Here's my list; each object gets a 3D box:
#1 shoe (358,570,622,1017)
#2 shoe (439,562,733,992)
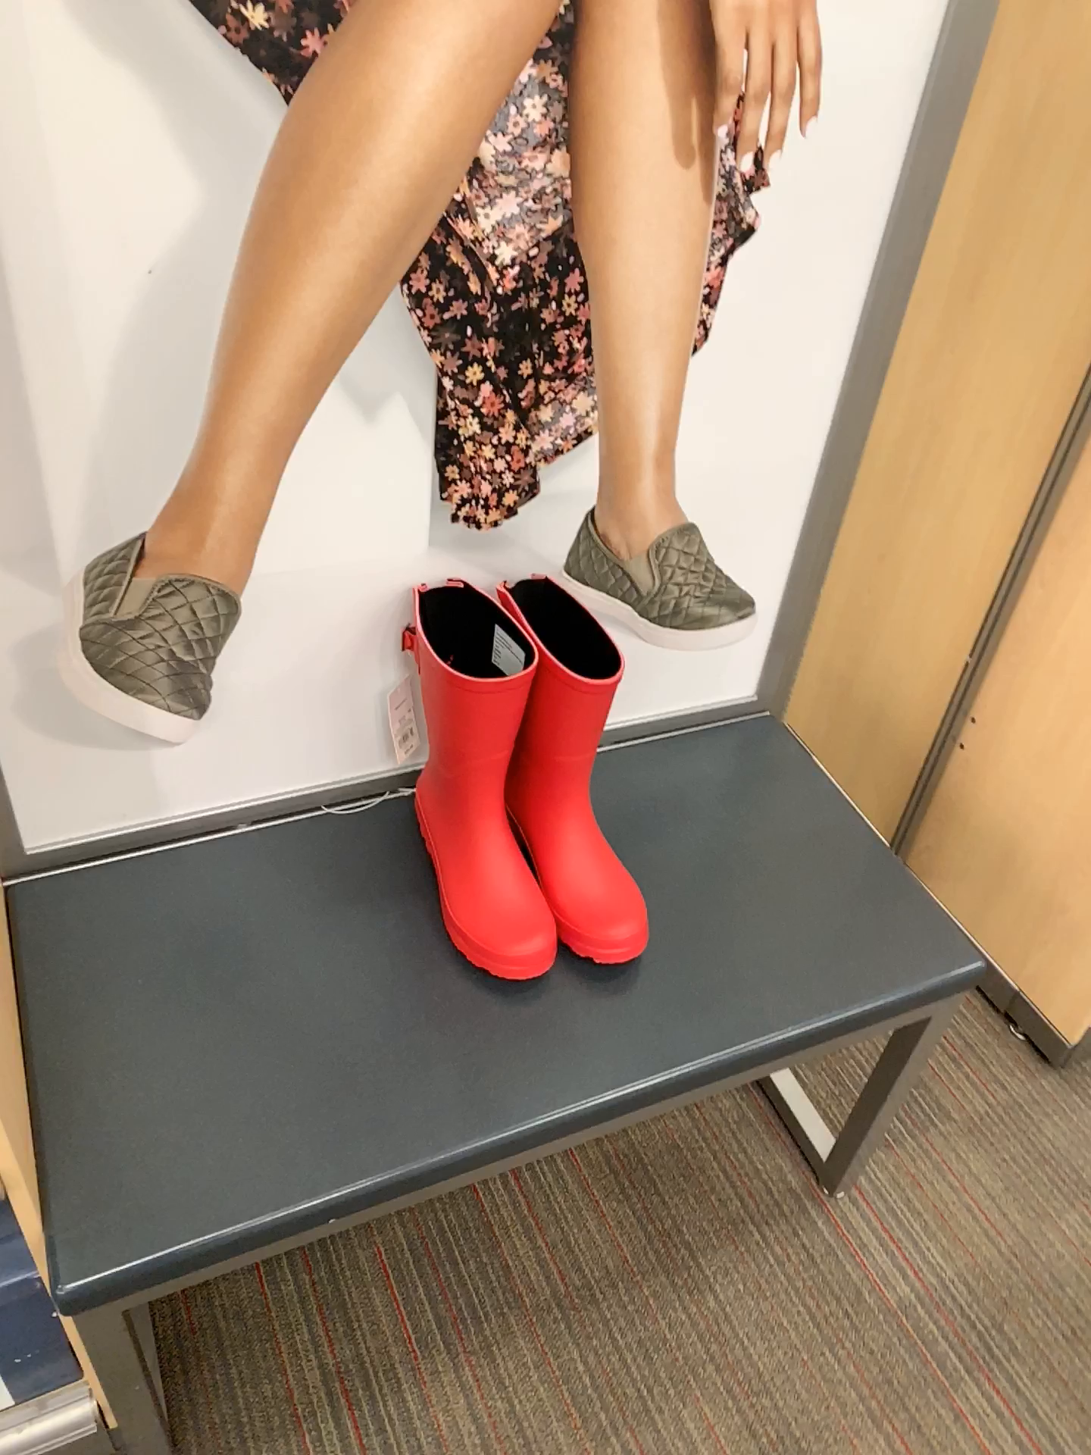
[{"bbox_3d":[-0.064,0.051,0.951,0.106,0.249,0.271,-13,44,-23],"label":"shoe"},{"bbox_3d":[0.017,0.038,0.987,0.106,0.249,0.271,-16,45,-26],"label":"shoe"}]
